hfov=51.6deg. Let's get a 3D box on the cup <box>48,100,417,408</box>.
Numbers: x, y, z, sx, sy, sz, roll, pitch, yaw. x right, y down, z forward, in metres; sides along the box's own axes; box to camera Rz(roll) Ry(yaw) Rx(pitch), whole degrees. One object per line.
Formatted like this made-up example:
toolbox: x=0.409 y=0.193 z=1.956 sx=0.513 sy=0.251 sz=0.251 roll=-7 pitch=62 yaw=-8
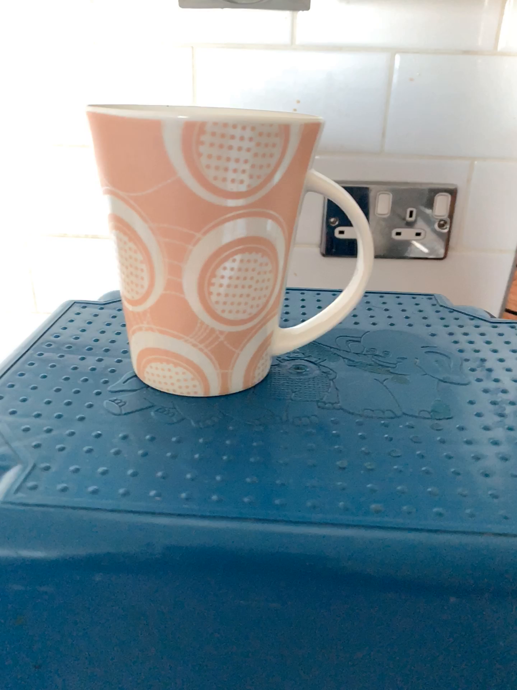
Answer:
cup: x=-0.009 y=-0.042 z=0.225 sx=0.116 sy=0.105 sz=0.078 roll=3 pitch=25 yaw=1
